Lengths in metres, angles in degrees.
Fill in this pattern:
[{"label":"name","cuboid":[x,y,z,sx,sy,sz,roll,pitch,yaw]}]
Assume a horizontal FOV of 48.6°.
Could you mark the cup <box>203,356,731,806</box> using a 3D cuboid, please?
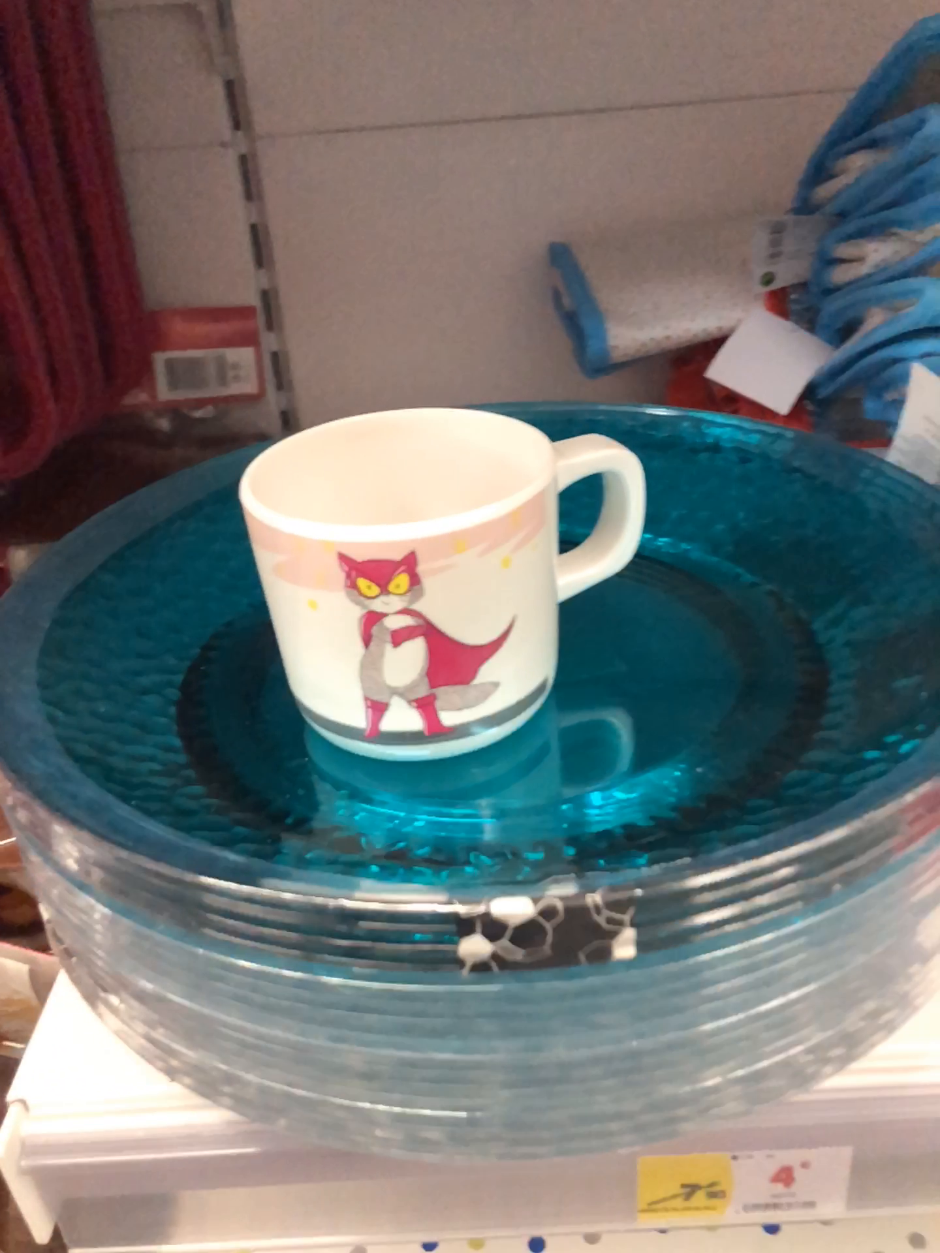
[{"label":"cup","cuboid":[-0.001,-0.019,0.264,0.102,0.064,0.075,-19,33,-24]}]
